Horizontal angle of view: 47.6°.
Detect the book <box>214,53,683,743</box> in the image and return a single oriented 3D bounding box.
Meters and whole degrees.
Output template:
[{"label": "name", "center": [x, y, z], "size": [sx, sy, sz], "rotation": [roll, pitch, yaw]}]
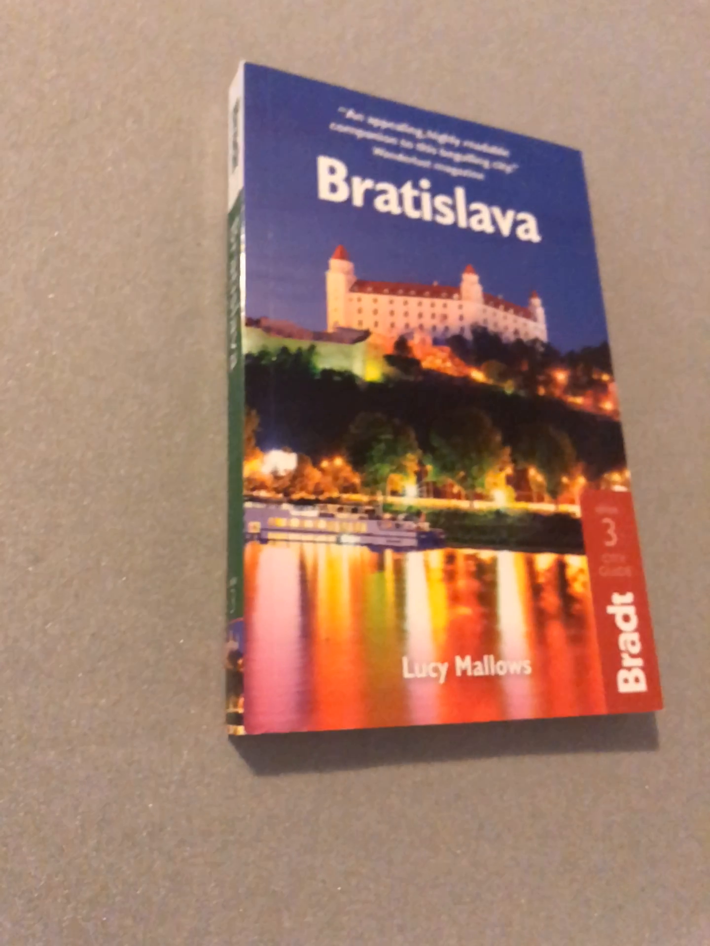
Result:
[{"label": "book", "center": [0.028, -0.026, 0.261], "size": [0.140, 0.020, 0.210], "rotation": [4, 73, -19]}]
